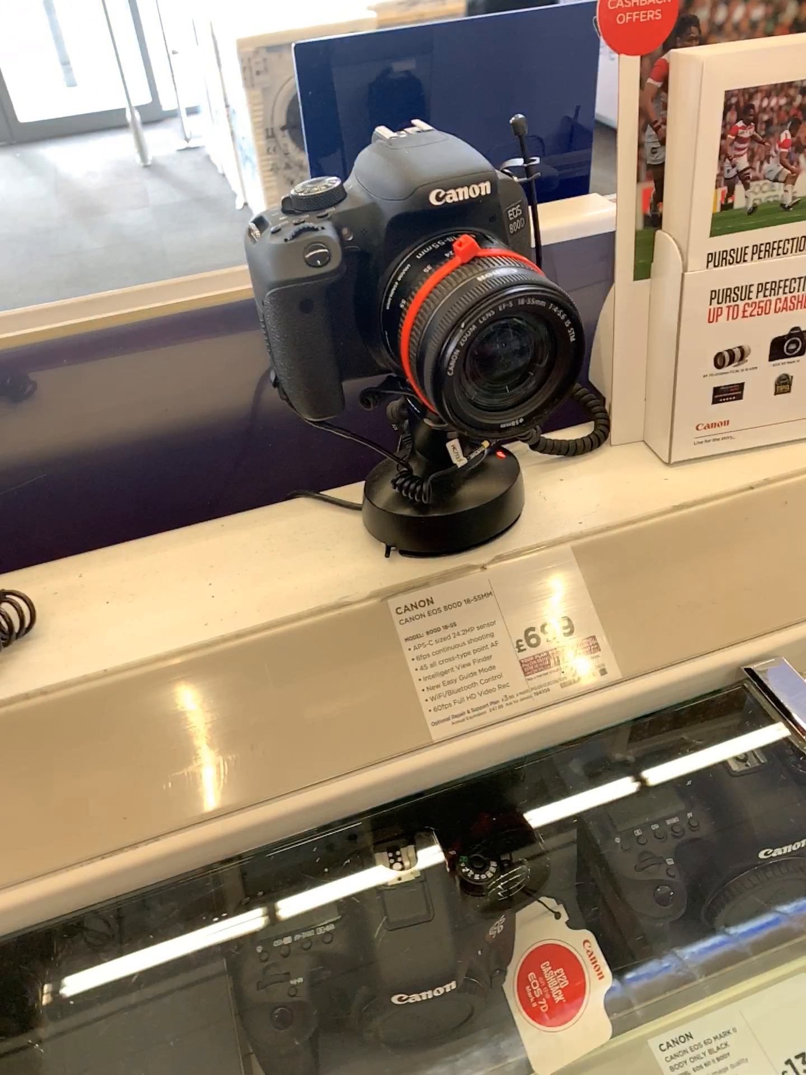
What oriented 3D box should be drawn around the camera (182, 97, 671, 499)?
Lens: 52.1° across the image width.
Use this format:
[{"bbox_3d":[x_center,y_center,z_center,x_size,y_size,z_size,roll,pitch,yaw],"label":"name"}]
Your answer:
[{"bbox_3d":[0.003,-0.110,0.345,0.140,0.089,0.141,-19,42,-17],"label":"camera"}]
